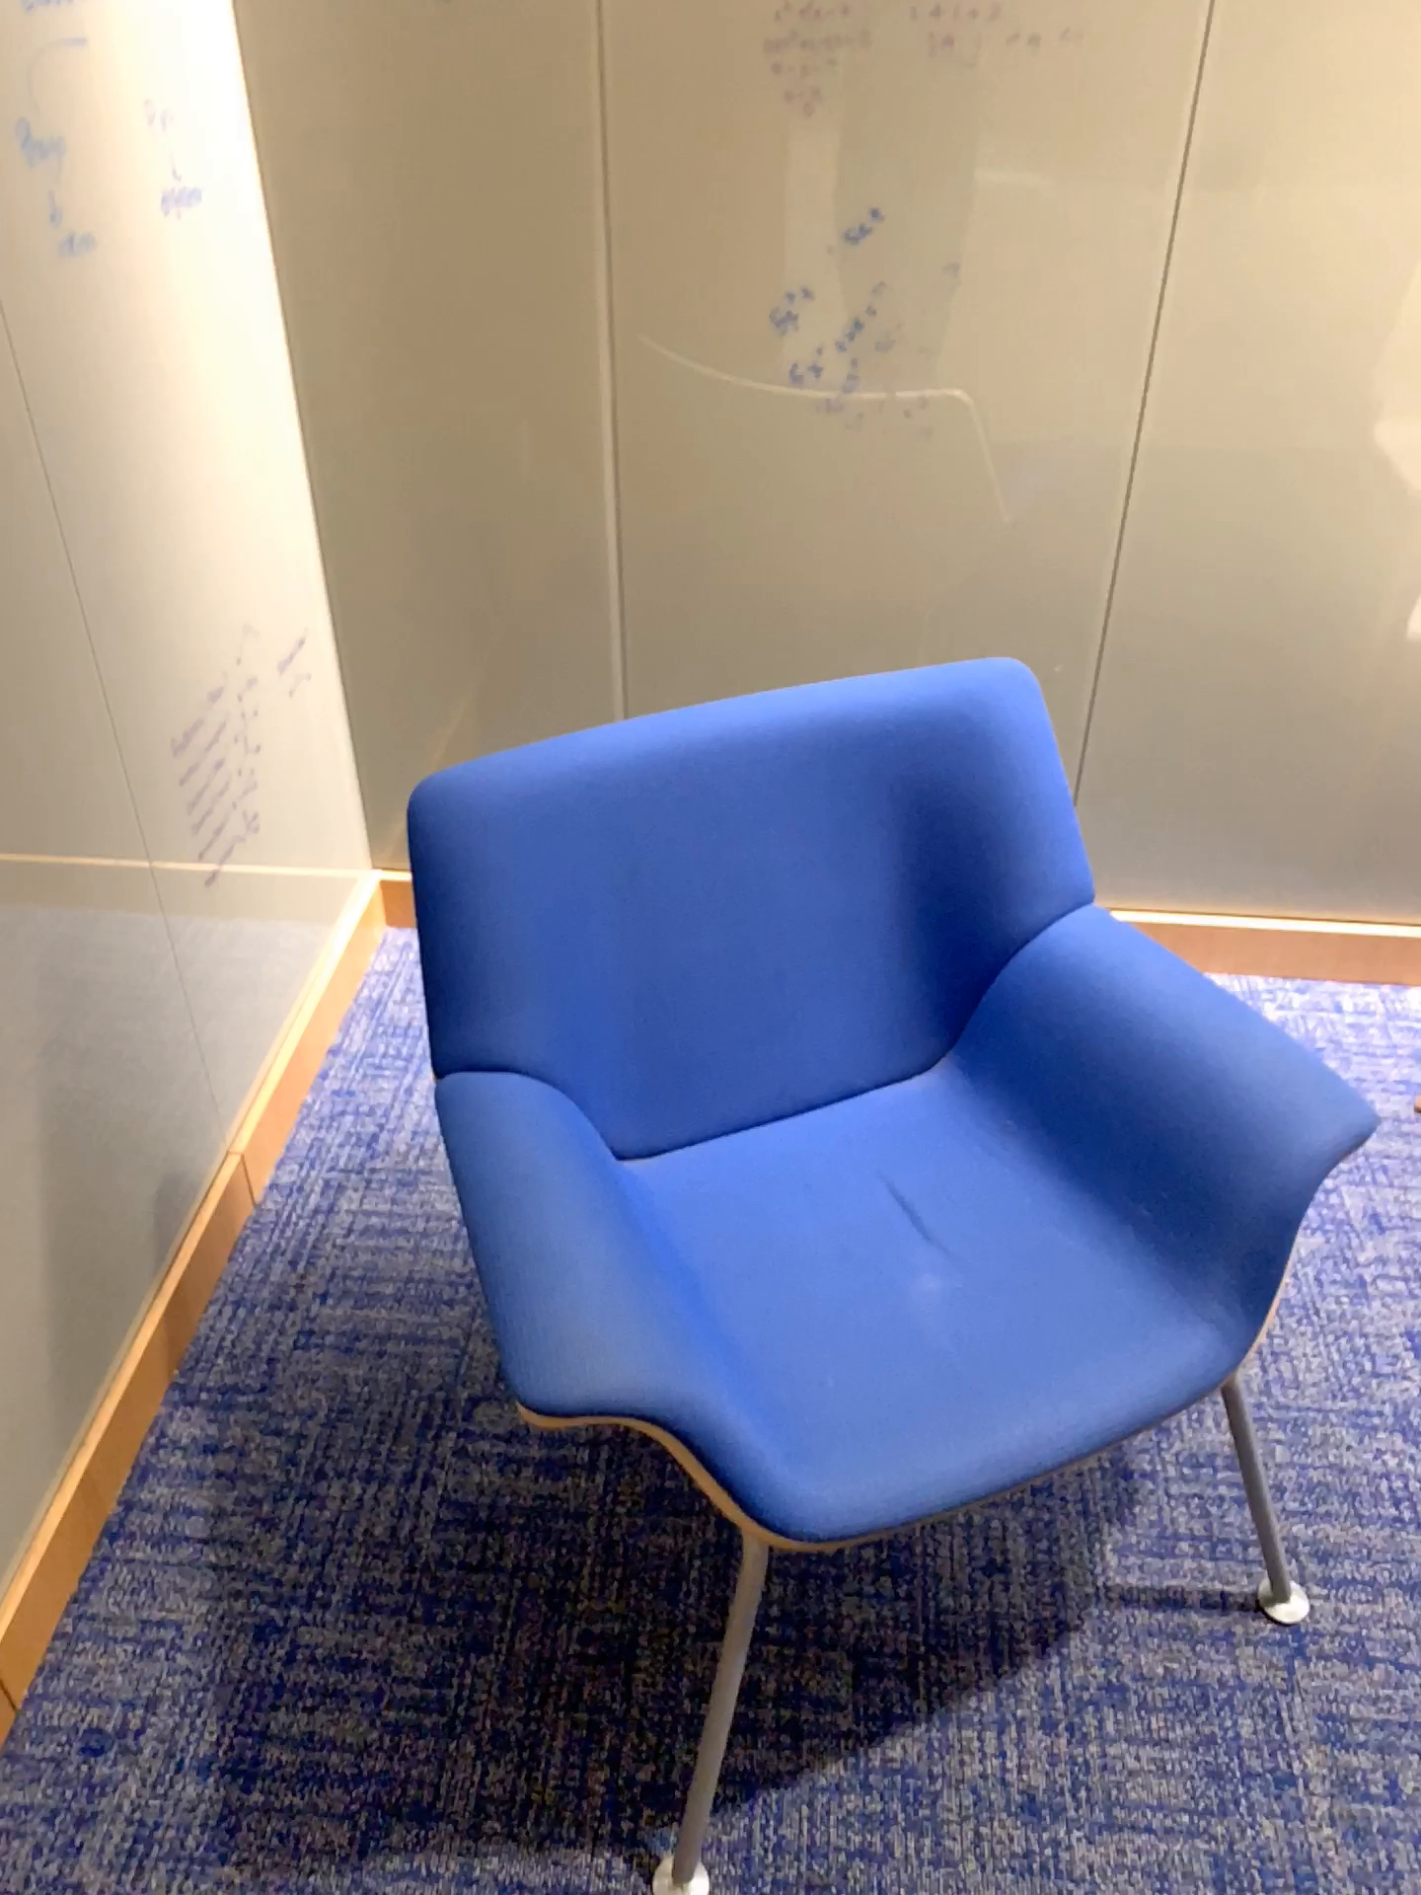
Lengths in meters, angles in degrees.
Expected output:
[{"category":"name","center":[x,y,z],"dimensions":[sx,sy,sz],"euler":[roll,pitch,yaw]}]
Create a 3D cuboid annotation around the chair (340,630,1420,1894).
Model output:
[{"category":"chair","center":[0.178,0.248,1.348],"dimensions":[0.789,0.711,0.744],"euler":[-14,39,-18]}]
